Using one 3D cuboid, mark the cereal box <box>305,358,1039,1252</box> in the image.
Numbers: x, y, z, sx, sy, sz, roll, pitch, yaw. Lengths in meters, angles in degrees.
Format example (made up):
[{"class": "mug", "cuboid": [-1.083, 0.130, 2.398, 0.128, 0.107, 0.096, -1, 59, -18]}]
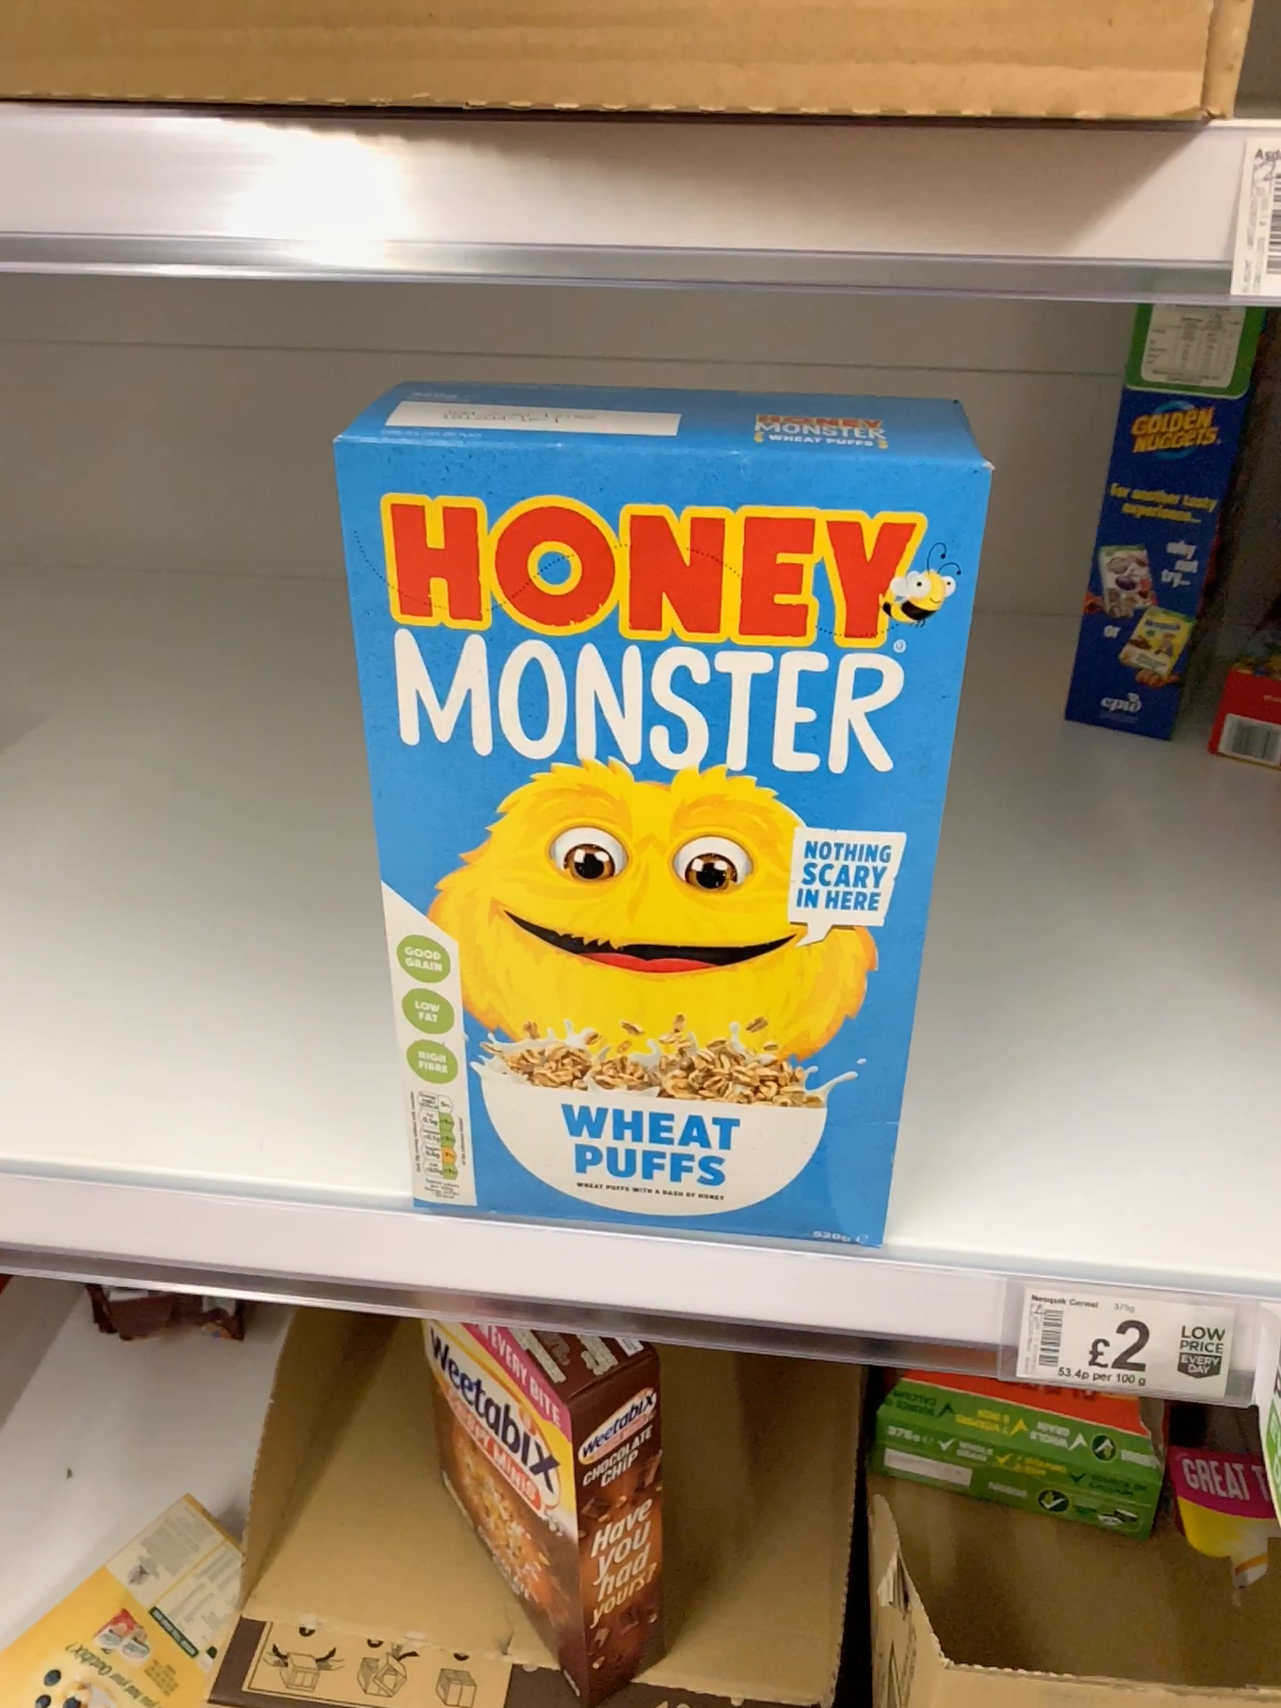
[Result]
[{"class": "cereal box", "cuboid": [0.010, -0.009, 0.470, 0.200, 0.297, 0.091, 4, 30, 6]}]
